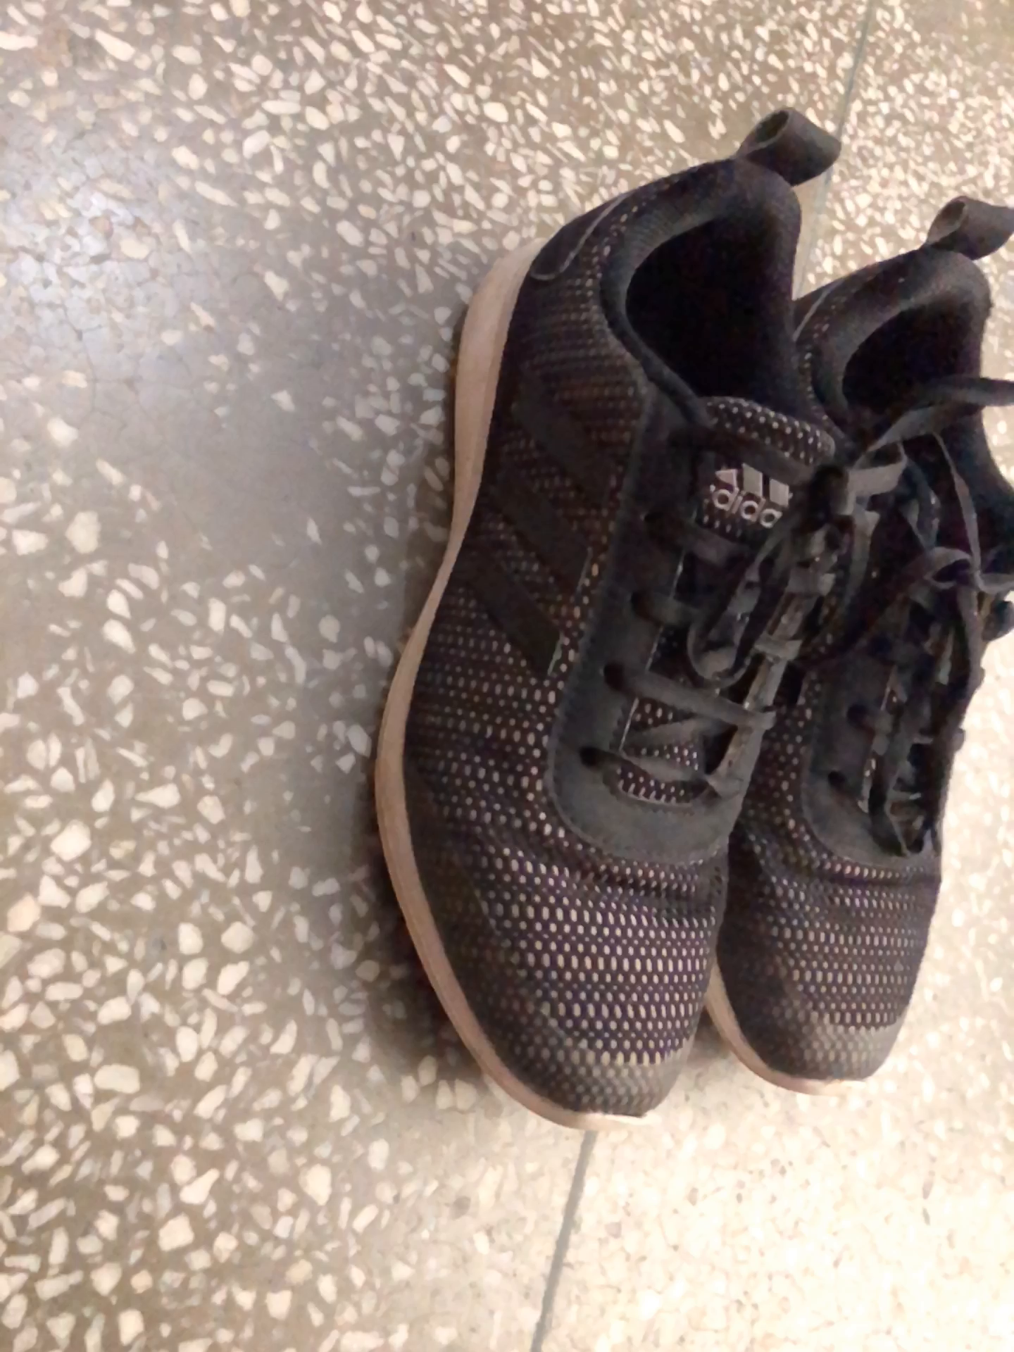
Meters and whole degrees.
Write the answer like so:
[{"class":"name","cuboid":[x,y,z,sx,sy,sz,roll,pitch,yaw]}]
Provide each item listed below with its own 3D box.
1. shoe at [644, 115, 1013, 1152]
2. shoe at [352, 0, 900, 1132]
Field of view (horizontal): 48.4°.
[{"class":"shoe","cuboid":[0.111,-0.010,0.335,0.100,0.080,0.270,15,70,-30]},{"class":"shoe","cuboid":[0.033,-0.034,0.303,0.100,0.080,0.280,12,71,-31]}]
